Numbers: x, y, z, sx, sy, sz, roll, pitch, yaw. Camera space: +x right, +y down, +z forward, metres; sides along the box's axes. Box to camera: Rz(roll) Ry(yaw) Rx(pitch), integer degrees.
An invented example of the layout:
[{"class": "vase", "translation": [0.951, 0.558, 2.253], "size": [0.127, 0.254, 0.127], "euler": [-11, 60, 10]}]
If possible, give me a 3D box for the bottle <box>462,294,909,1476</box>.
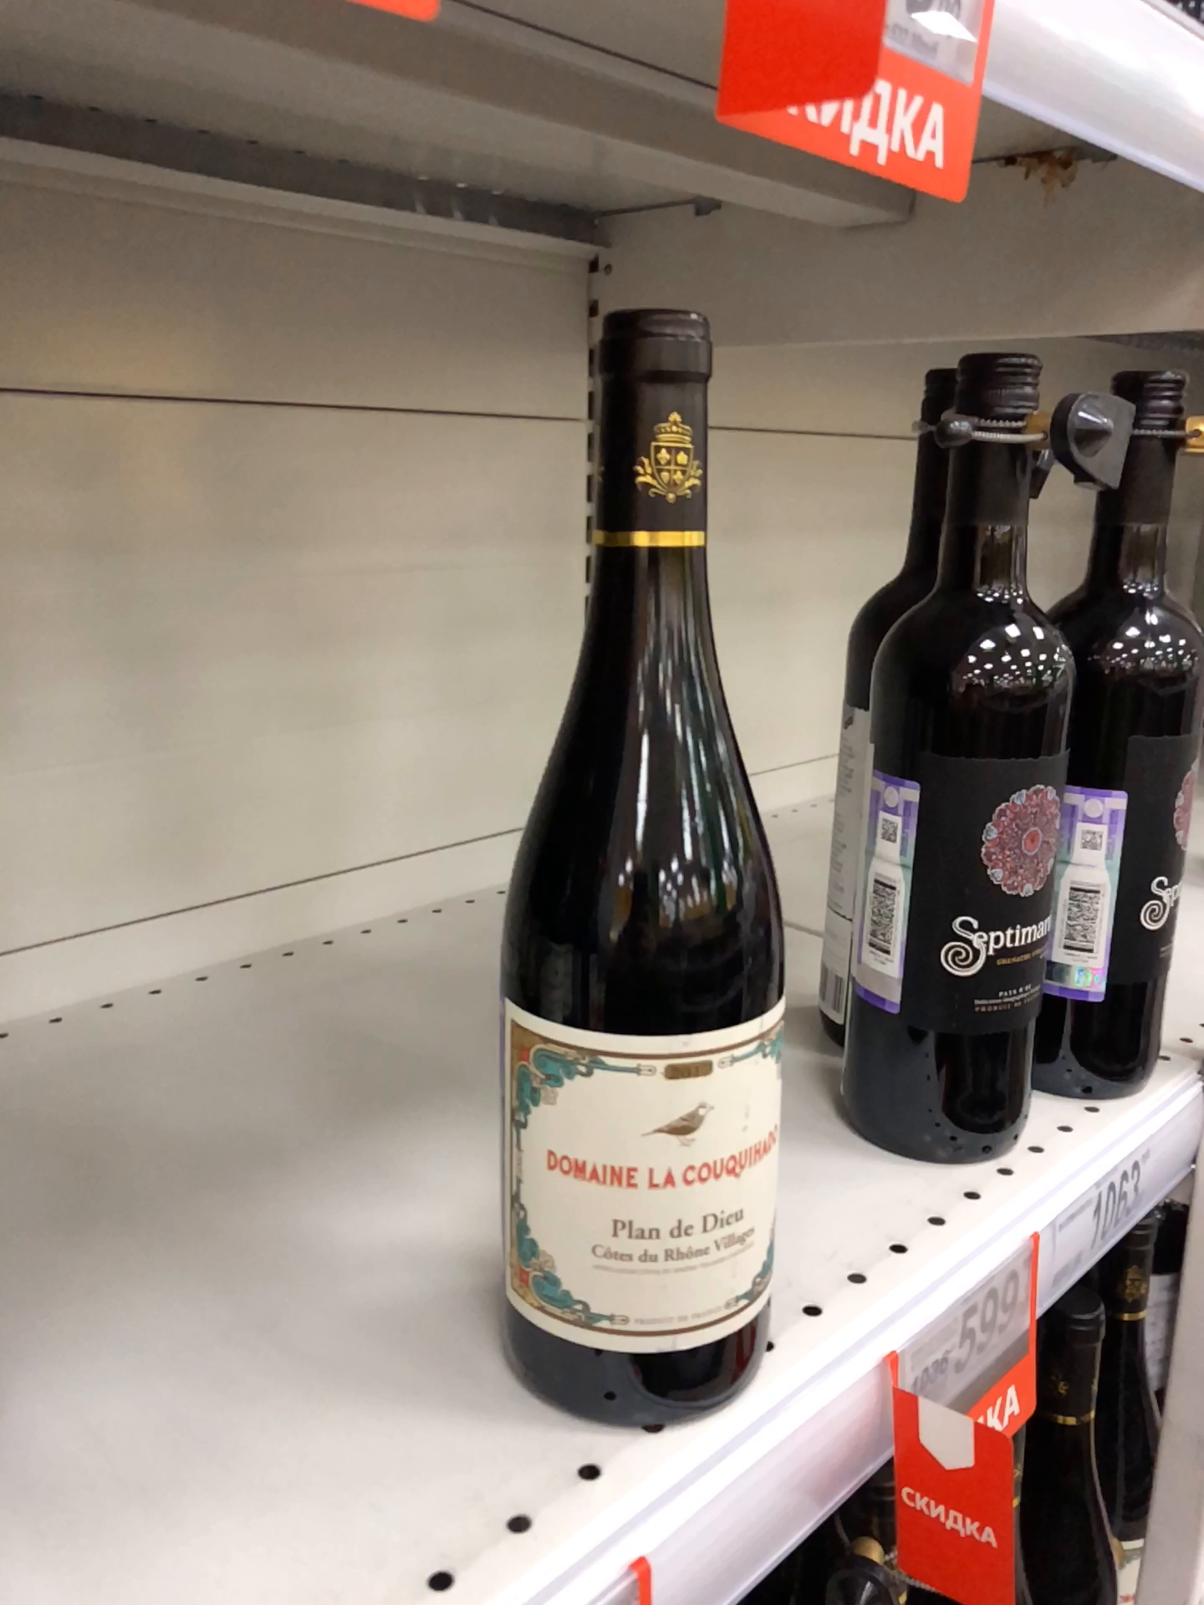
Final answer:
[{"class": "bottle", "translation": [0.014, 0.023, 0.376], "size": [0.090, 0.302, 0.080], "euler": [-4, 14, -20]}]
